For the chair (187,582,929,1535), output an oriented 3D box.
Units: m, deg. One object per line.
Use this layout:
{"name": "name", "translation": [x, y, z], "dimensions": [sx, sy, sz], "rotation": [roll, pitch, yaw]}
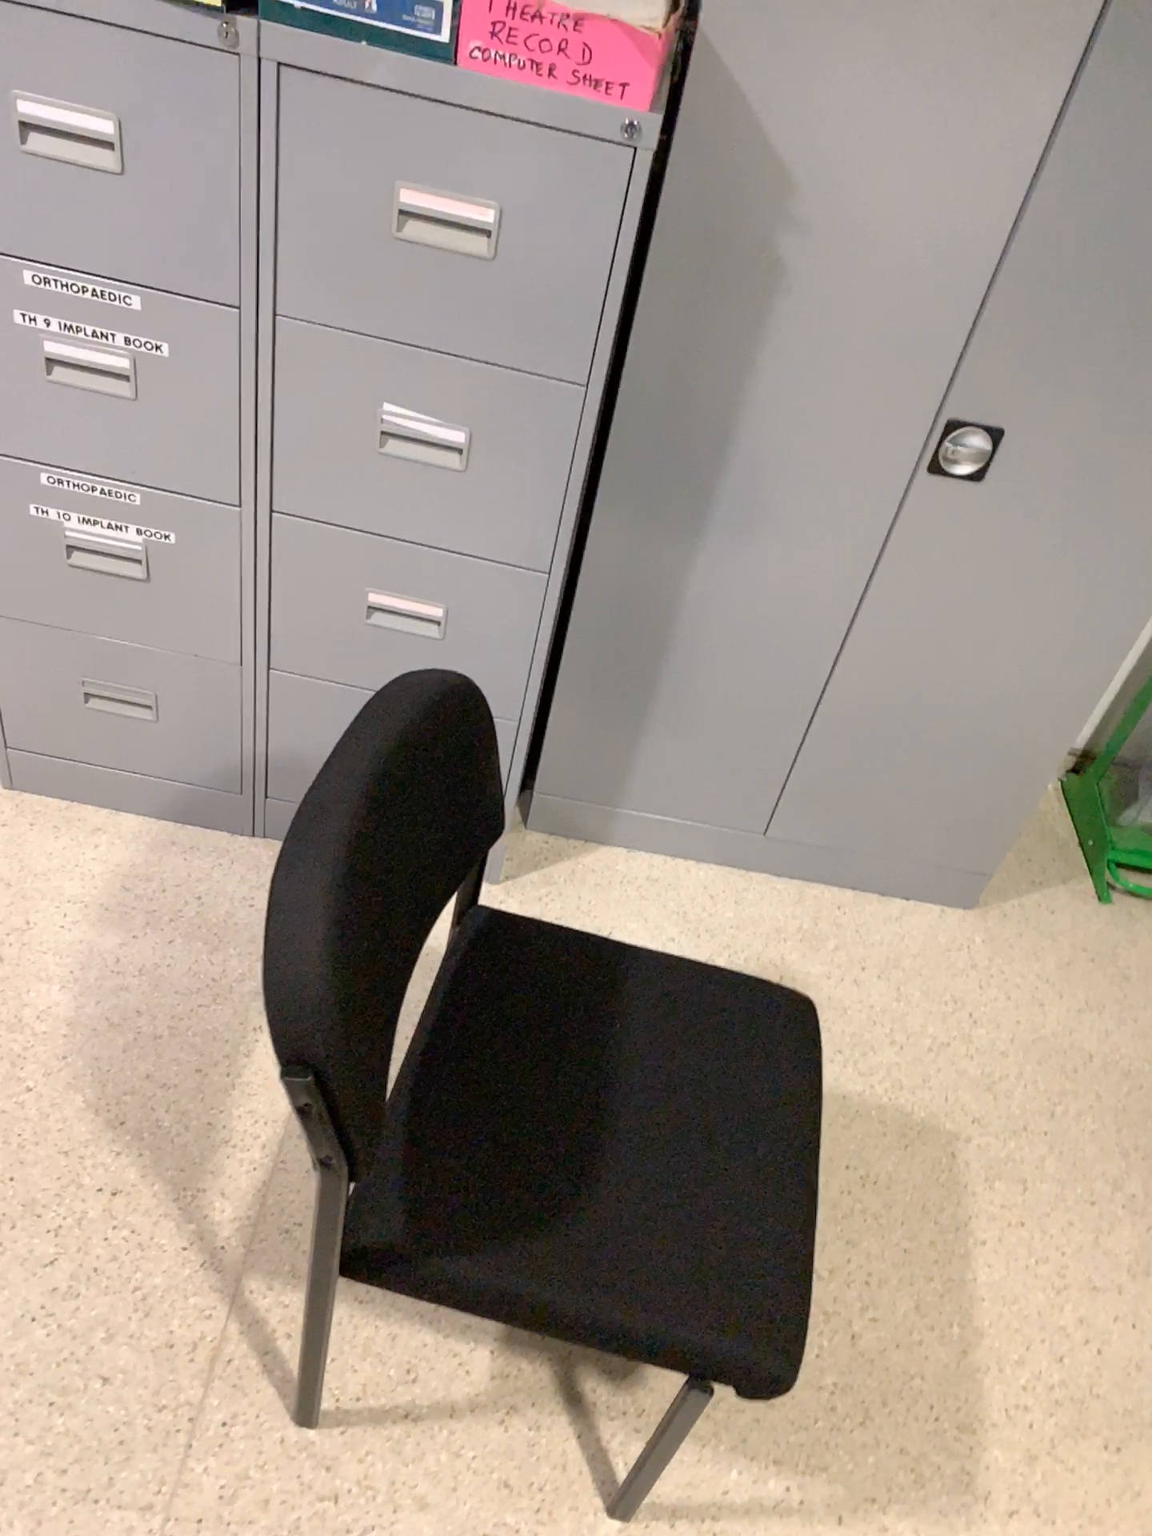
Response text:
{"name": "chair", "translation": [-0.027, 0.366, 1.389], "dimensions": [0.580, 0.832, 0.636], "rotation": [16, 41, 2]}
